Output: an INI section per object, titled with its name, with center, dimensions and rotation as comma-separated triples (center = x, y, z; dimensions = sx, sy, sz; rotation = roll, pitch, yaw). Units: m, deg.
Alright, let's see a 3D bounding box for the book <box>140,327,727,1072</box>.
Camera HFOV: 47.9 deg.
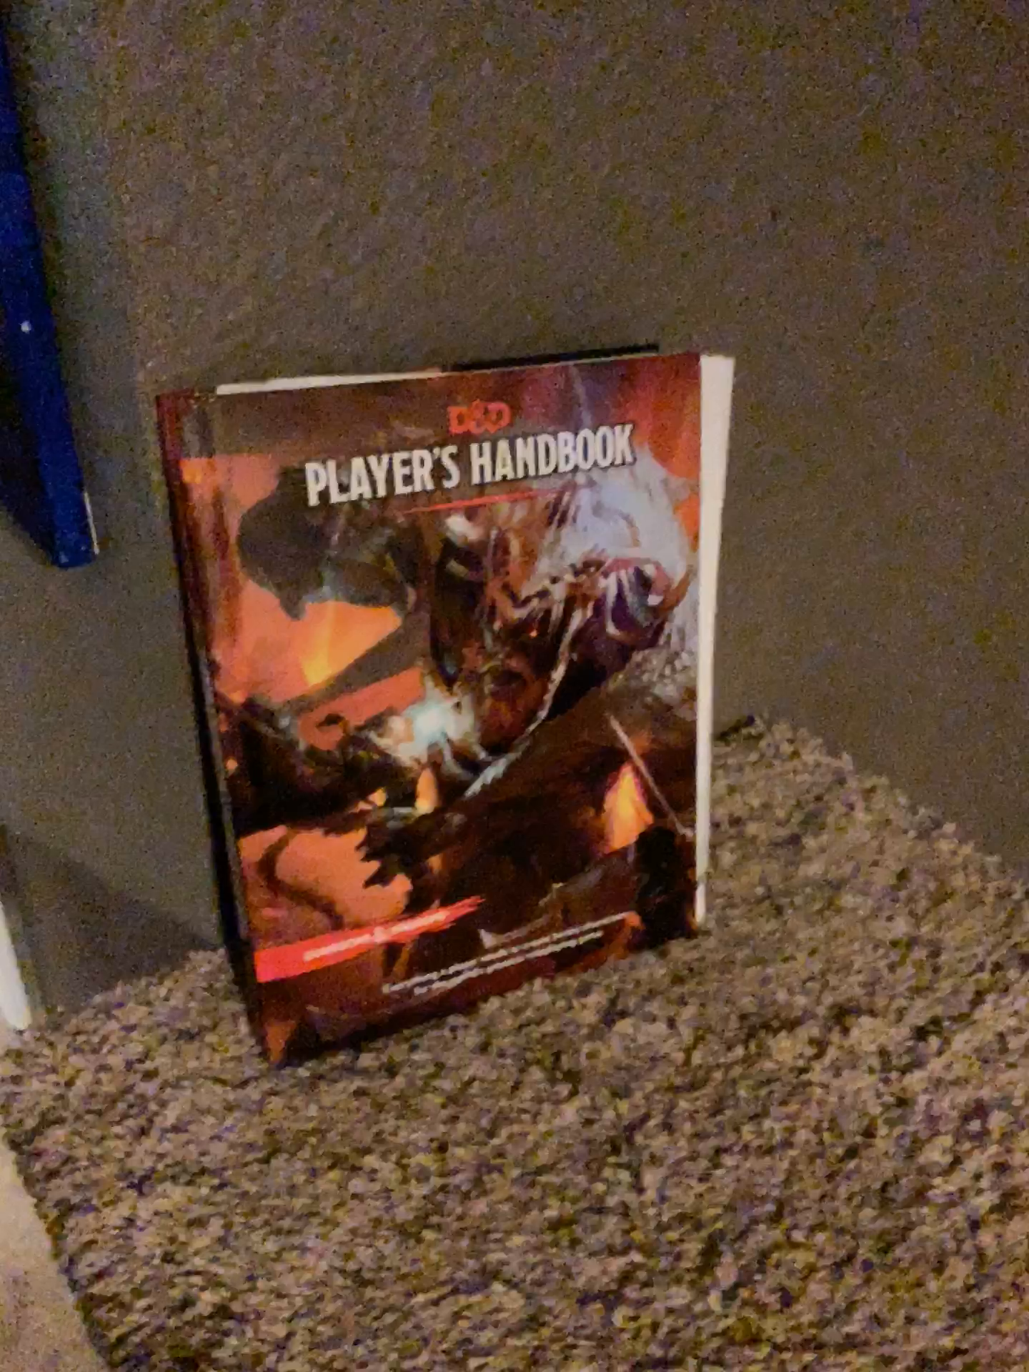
[book]
center = -0.020, 0.005, 0.507
dimensions = 0.230, 0.290, 0.040
rotation = -13, 25, -23
